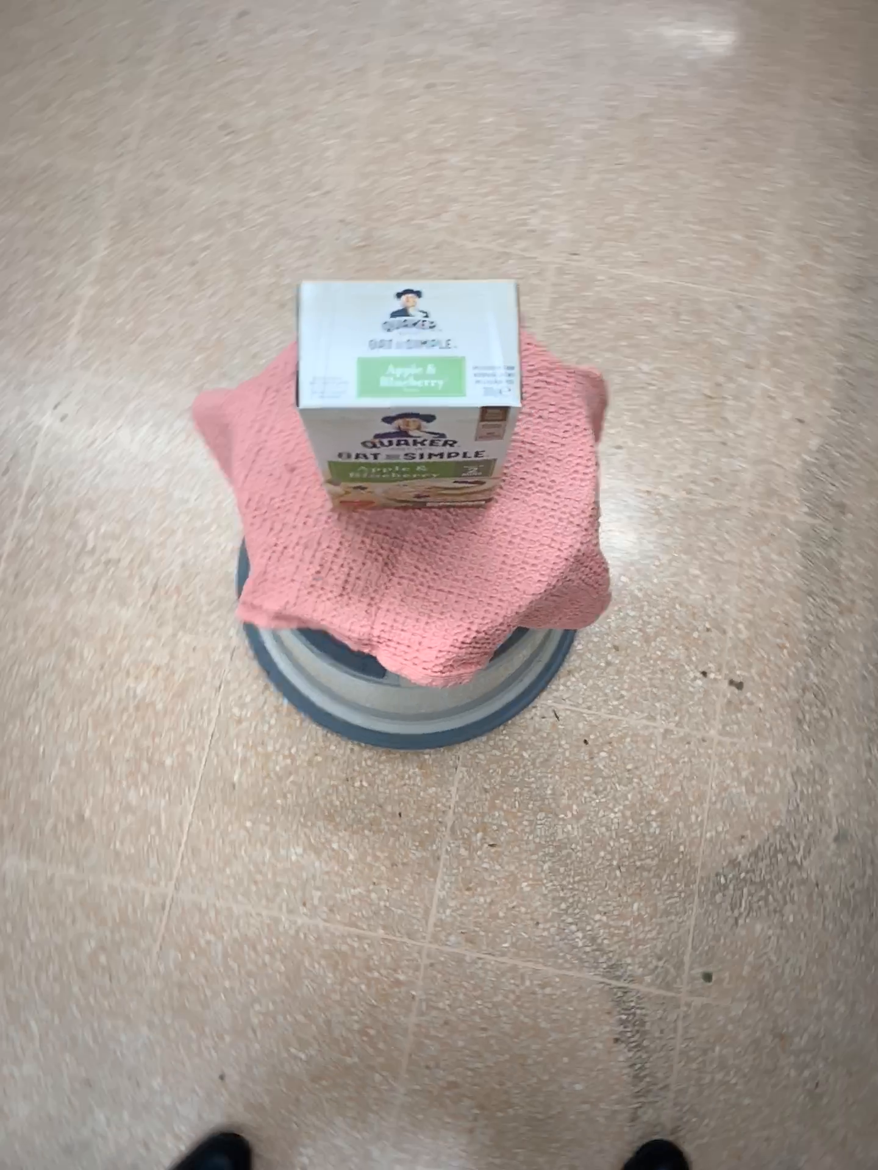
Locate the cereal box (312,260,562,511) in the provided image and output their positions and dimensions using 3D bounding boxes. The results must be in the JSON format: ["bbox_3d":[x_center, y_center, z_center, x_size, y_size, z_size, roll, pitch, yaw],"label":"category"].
[{"bbox_3d":[-0.004,-0.124,0.612,0.140,0.210,0.090,0,78,-2],"label":"cereal box"}]
